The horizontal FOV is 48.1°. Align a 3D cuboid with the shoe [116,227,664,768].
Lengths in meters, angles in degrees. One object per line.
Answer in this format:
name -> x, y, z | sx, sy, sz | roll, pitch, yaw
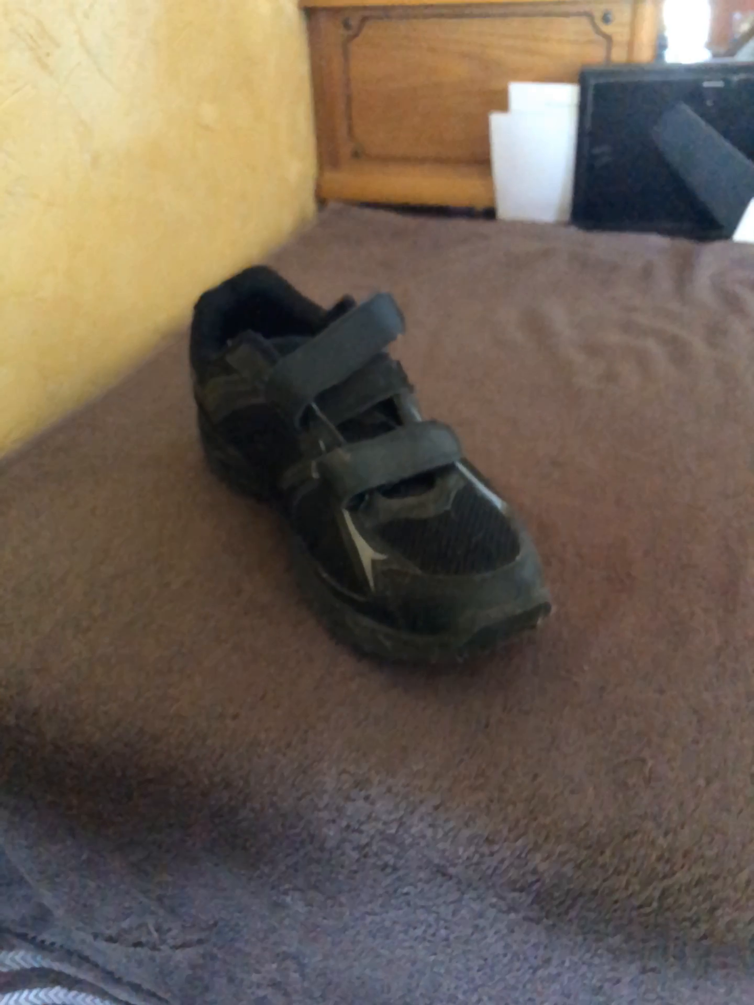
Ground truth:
shoe -> -0.016, -0.030, 0.396 | 0.110, 0.109, 0.271 | -21, 39, -24
